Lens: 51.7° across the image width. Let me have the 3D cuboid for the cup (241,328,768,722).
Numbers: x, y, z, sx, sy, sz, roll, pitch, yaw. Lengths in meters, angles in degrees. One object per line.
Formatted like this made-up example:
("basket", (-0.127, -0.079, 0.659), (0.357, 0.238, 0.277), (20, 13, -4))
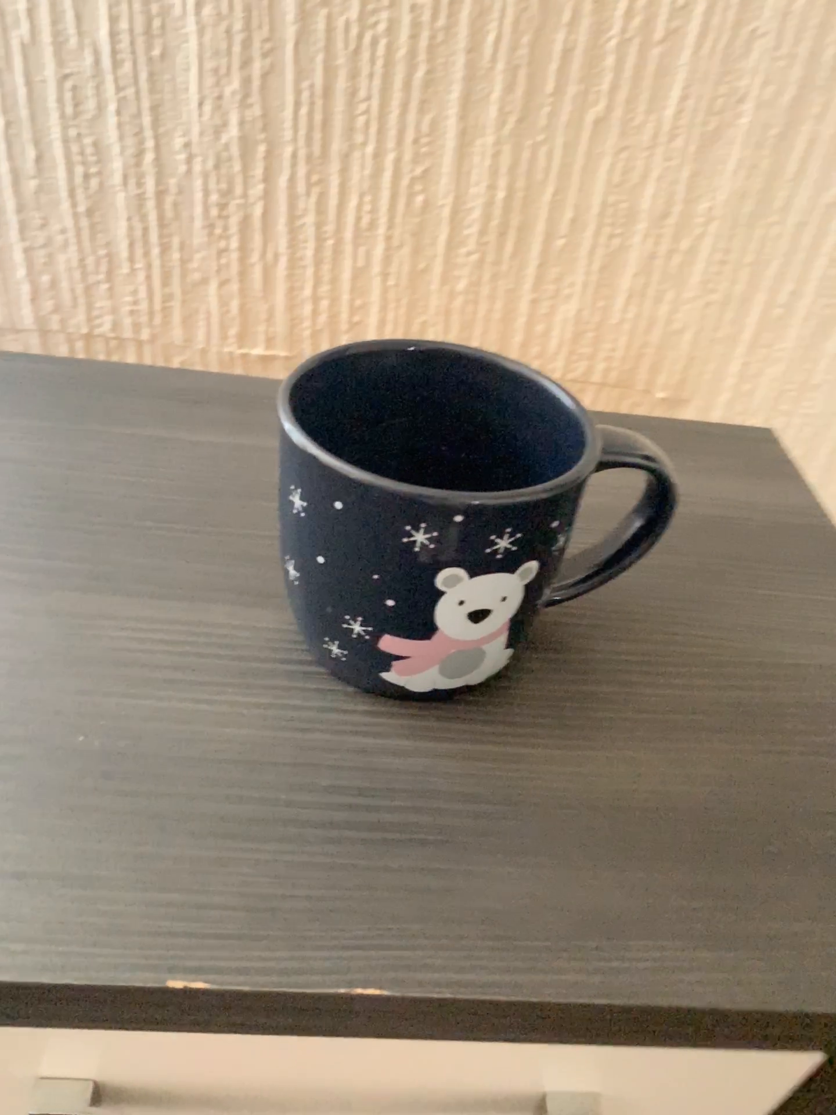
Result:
("cup", (0.015, -0.017, 0.272), (0.130, 0.069, 0.101), (-3, 40, -16))
